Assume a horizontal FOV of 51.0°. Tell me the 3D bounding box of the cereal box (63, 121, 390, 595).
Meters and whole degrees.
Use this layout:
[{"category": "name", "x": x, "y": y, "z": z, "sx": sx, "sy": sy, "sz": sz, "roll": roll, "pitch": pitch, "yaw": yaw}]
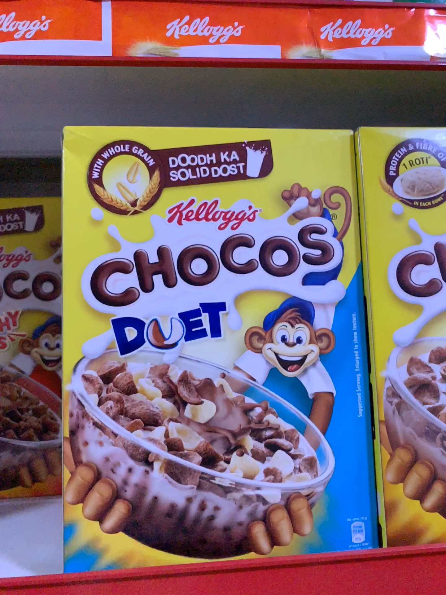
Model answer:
[{"category": "cereal box", "x": -0.002, "y": 0.027, "z": 0.284, "sx": 0.170, "sy": 0.250, "sz": 0.060, "roll": -2, "pitch": -5, "yaw": -6}]
